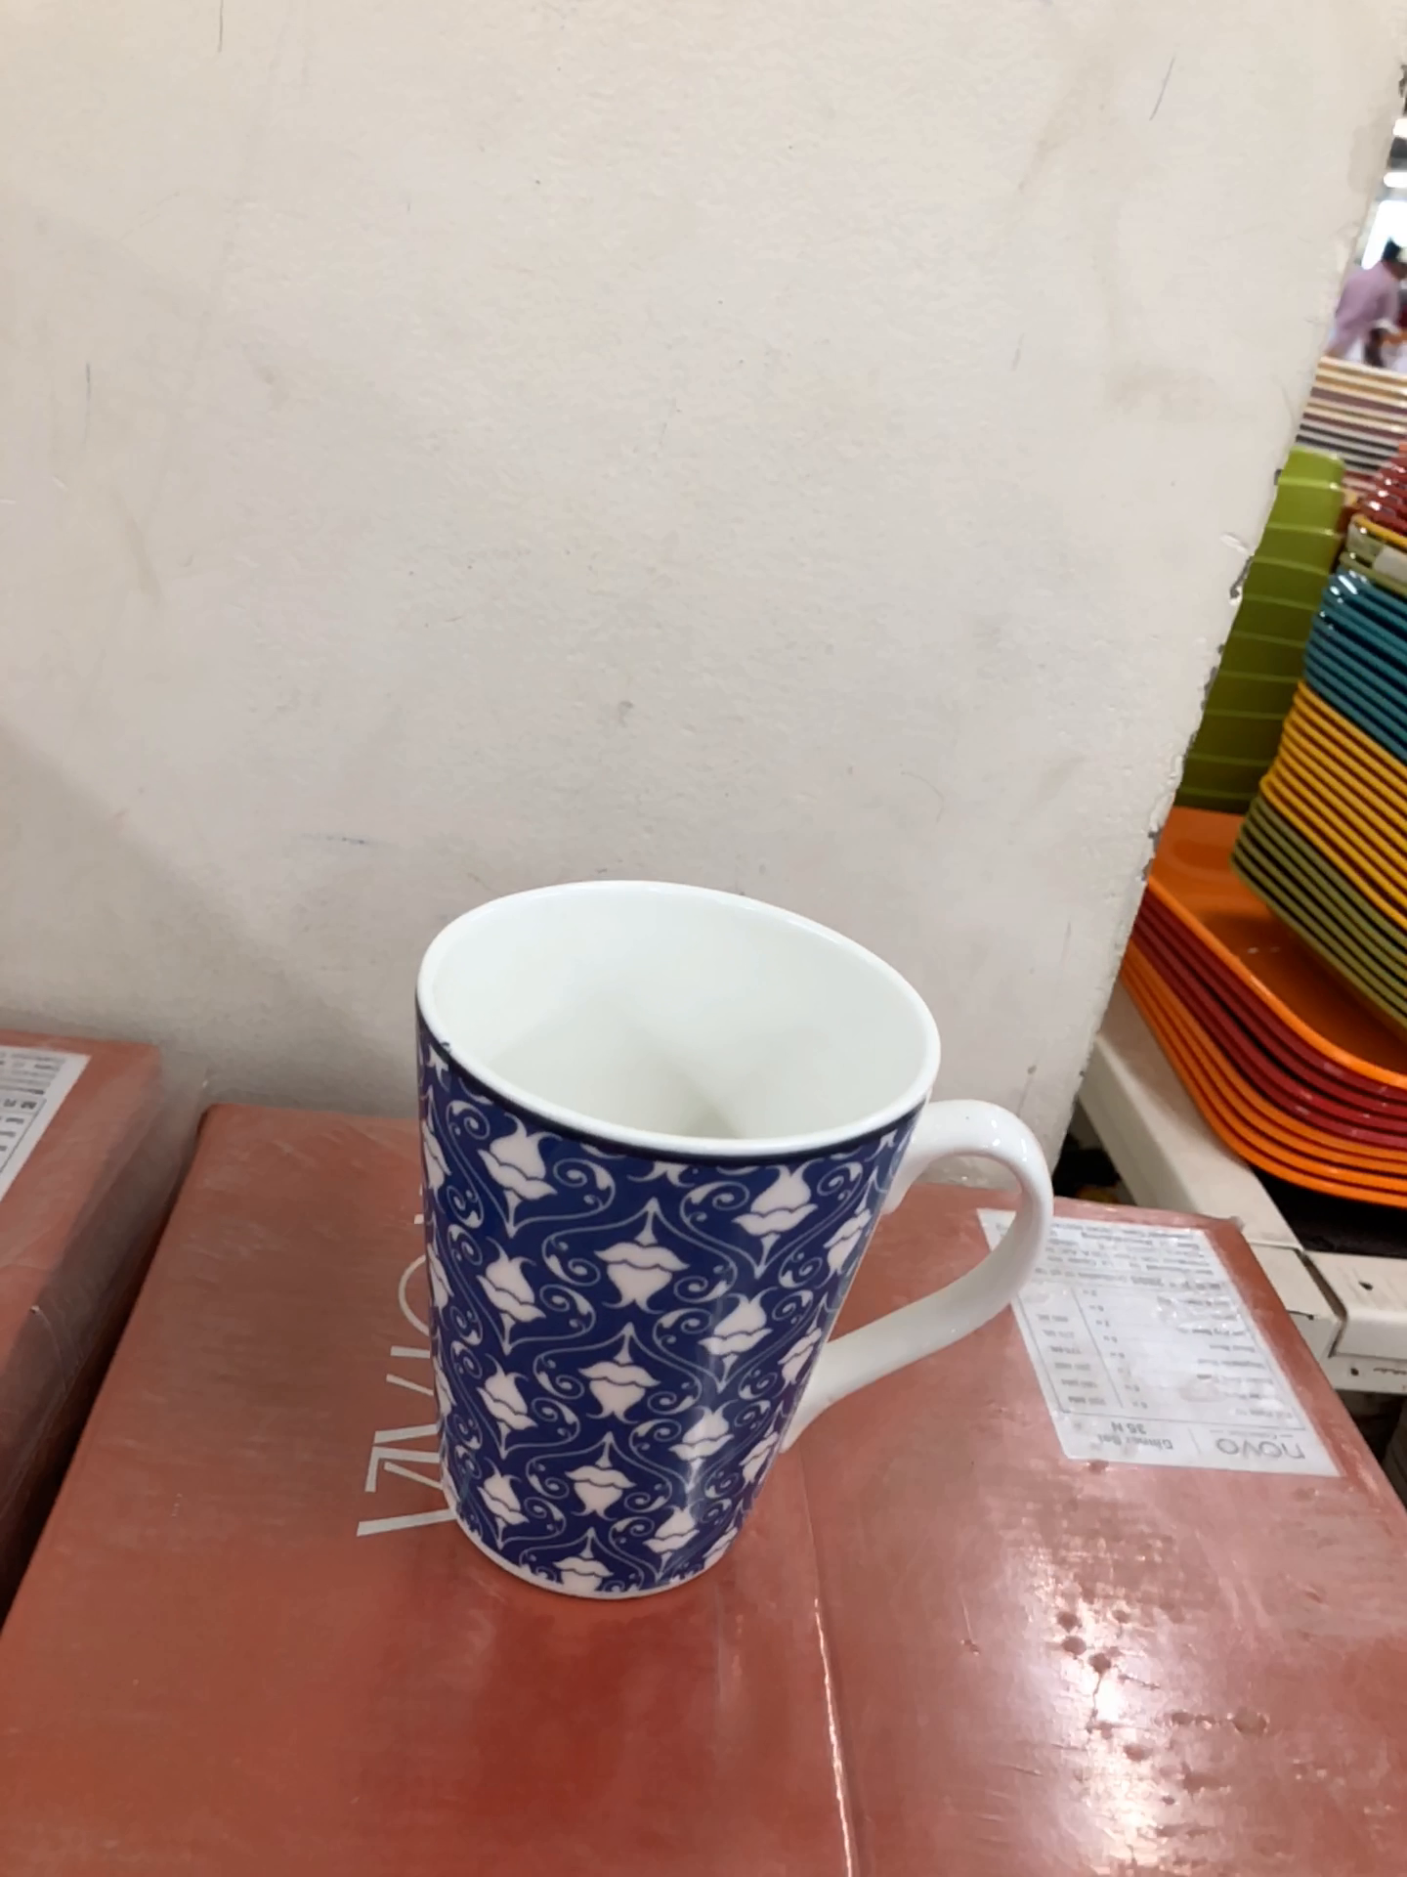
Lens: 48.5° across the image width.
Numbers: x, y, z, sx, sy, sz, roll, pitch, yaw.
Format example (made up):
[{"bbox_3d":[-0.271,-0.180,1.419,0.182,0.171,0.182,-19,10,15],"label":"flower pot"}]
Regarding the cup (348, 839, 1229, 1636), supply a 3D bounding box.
[{"bbox_3d":[0.003,0.049,0.272,0.120,0.099,0.080,4,26,-15],"label":"cup"}]
